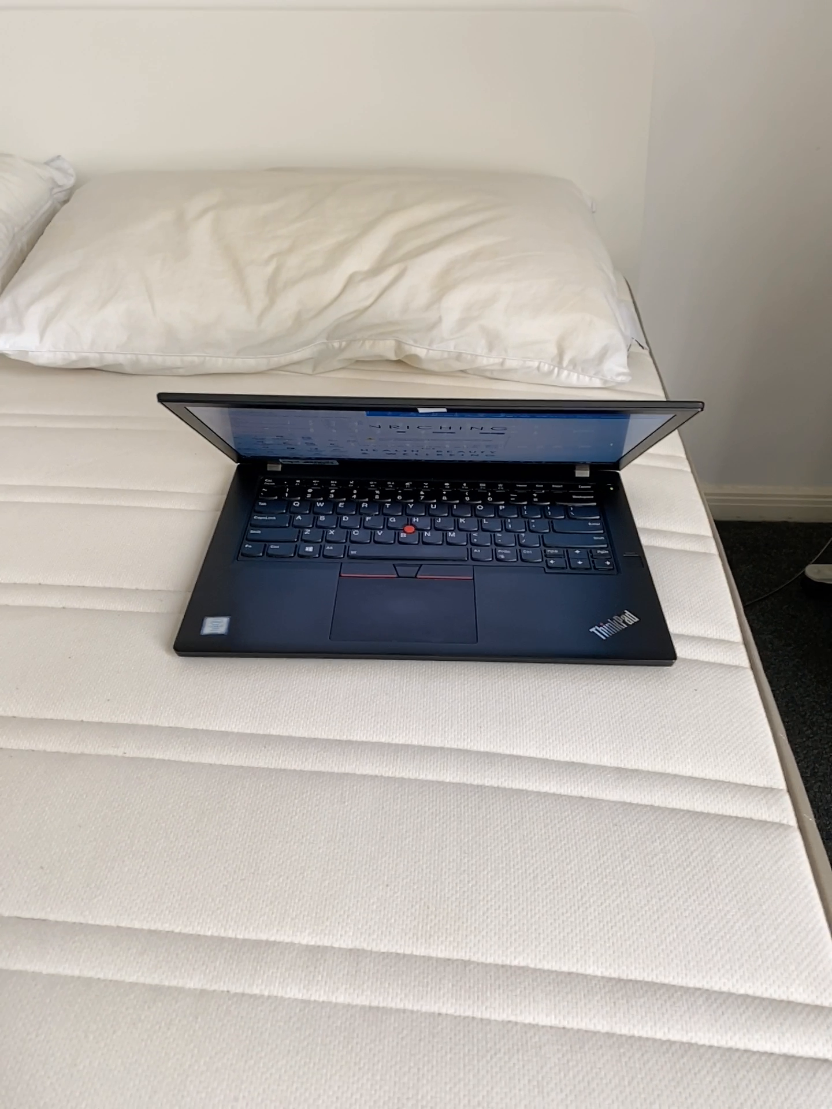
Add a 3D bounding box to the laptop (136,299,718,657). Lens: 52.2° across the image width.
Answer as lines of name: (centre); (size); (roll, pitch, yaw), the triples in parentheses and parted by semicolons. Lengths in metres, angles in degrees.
laptop: (0.009, -0.063, 0.603); (0.324, 0.150, 0.221); (0, 39, 0)
